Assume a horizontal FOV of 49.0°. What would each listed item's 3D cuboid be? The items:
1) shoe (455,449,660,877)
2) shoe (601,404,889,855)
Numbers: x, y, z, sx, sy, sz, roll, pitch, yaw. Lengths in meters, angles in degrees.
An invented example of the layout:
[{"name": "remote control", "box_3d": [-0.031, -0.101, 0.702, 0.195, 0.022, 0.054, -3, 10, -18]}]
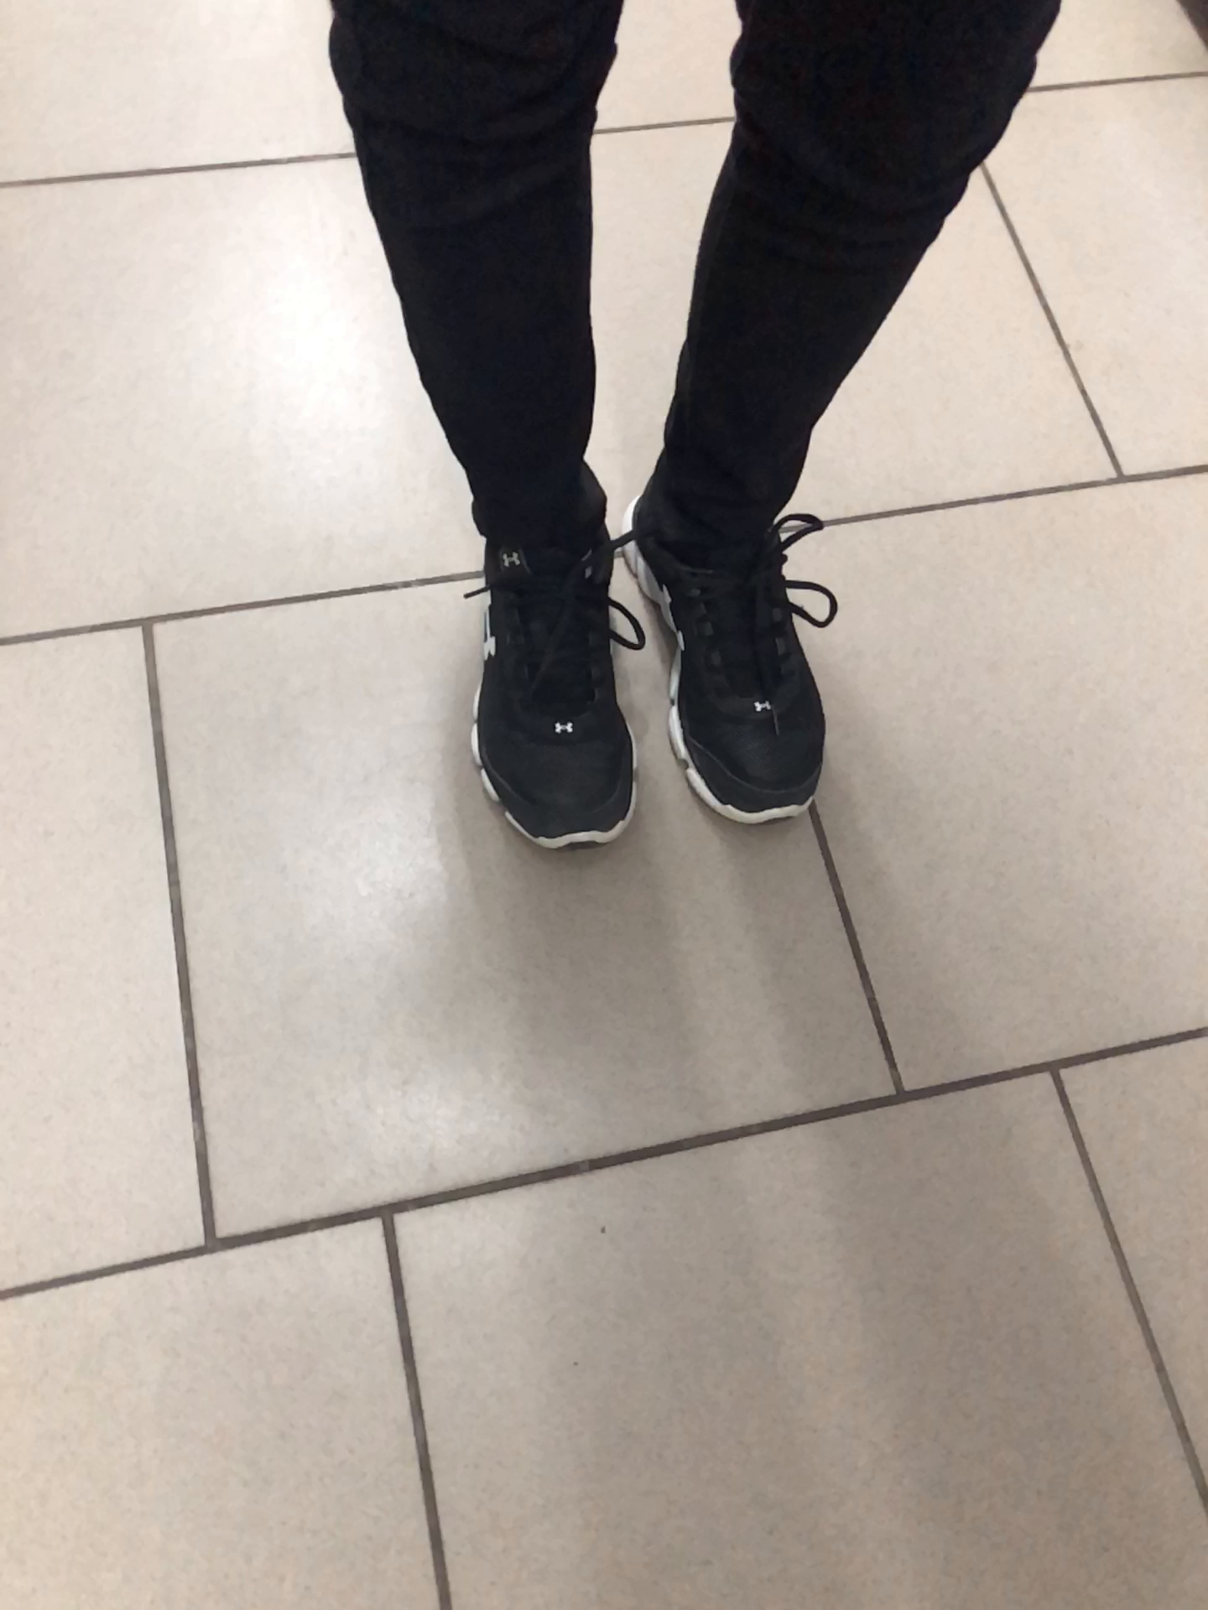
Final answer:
[{"name": "shoe", "box_3d": [-0.035, -0.094, 0.850, 0.110, 0.090, 0.260, -2, 67, -6]}, {"name": "shoe", "box_3d": [0.082, -0.117, 0.859, 0.110, 0.090, 0.270, -9, 67, -8]}]
